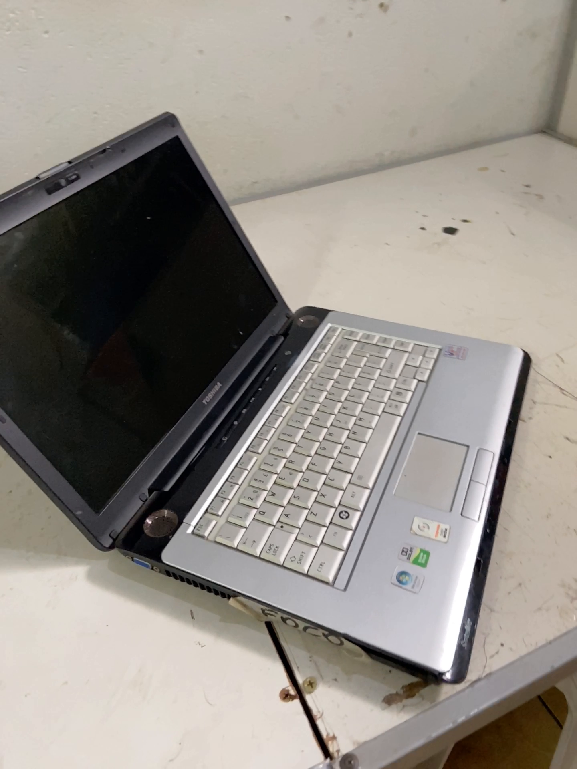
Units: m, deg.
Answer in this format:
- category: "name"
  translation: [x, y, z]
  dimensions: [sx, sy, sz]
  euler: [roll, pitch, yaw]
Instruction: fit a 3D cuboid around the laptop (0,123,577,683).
- category: "laptop"
  translation: [-0.015, -0.044, 0.486]
  dimensions: [0.393, 0.200, 0.352]
  euler: [14, 42, 20]
